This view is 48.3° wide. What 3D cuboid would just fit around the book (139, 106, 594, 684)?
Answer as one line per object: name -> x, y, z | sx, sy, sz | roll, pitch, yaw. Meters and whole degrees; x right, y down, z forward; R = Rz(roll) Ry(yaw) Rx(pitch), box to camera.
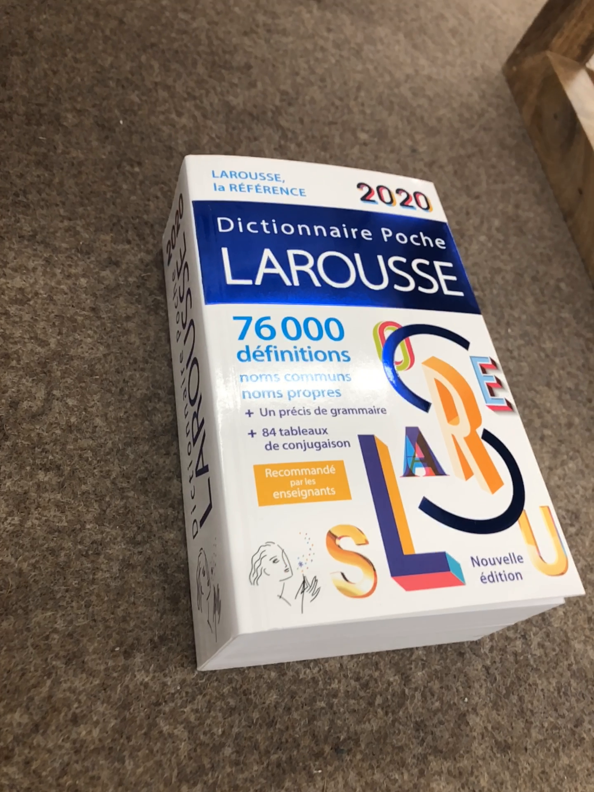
book -> 0.013, -0.007, 0.241 | 0.117, 0.060, 0.184 | 3, 58, -25
